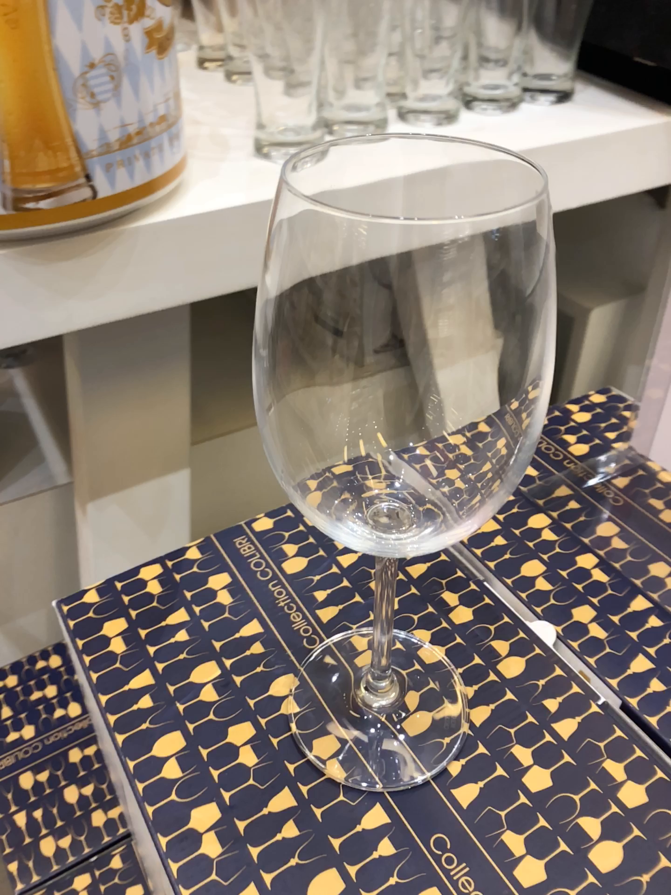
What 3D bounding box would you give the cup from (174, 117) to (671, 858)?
[{"bbox_3d":[0.018,0.020,0.240,0.090,0.208,0.091,0,37,0],"label":"cup"}]
